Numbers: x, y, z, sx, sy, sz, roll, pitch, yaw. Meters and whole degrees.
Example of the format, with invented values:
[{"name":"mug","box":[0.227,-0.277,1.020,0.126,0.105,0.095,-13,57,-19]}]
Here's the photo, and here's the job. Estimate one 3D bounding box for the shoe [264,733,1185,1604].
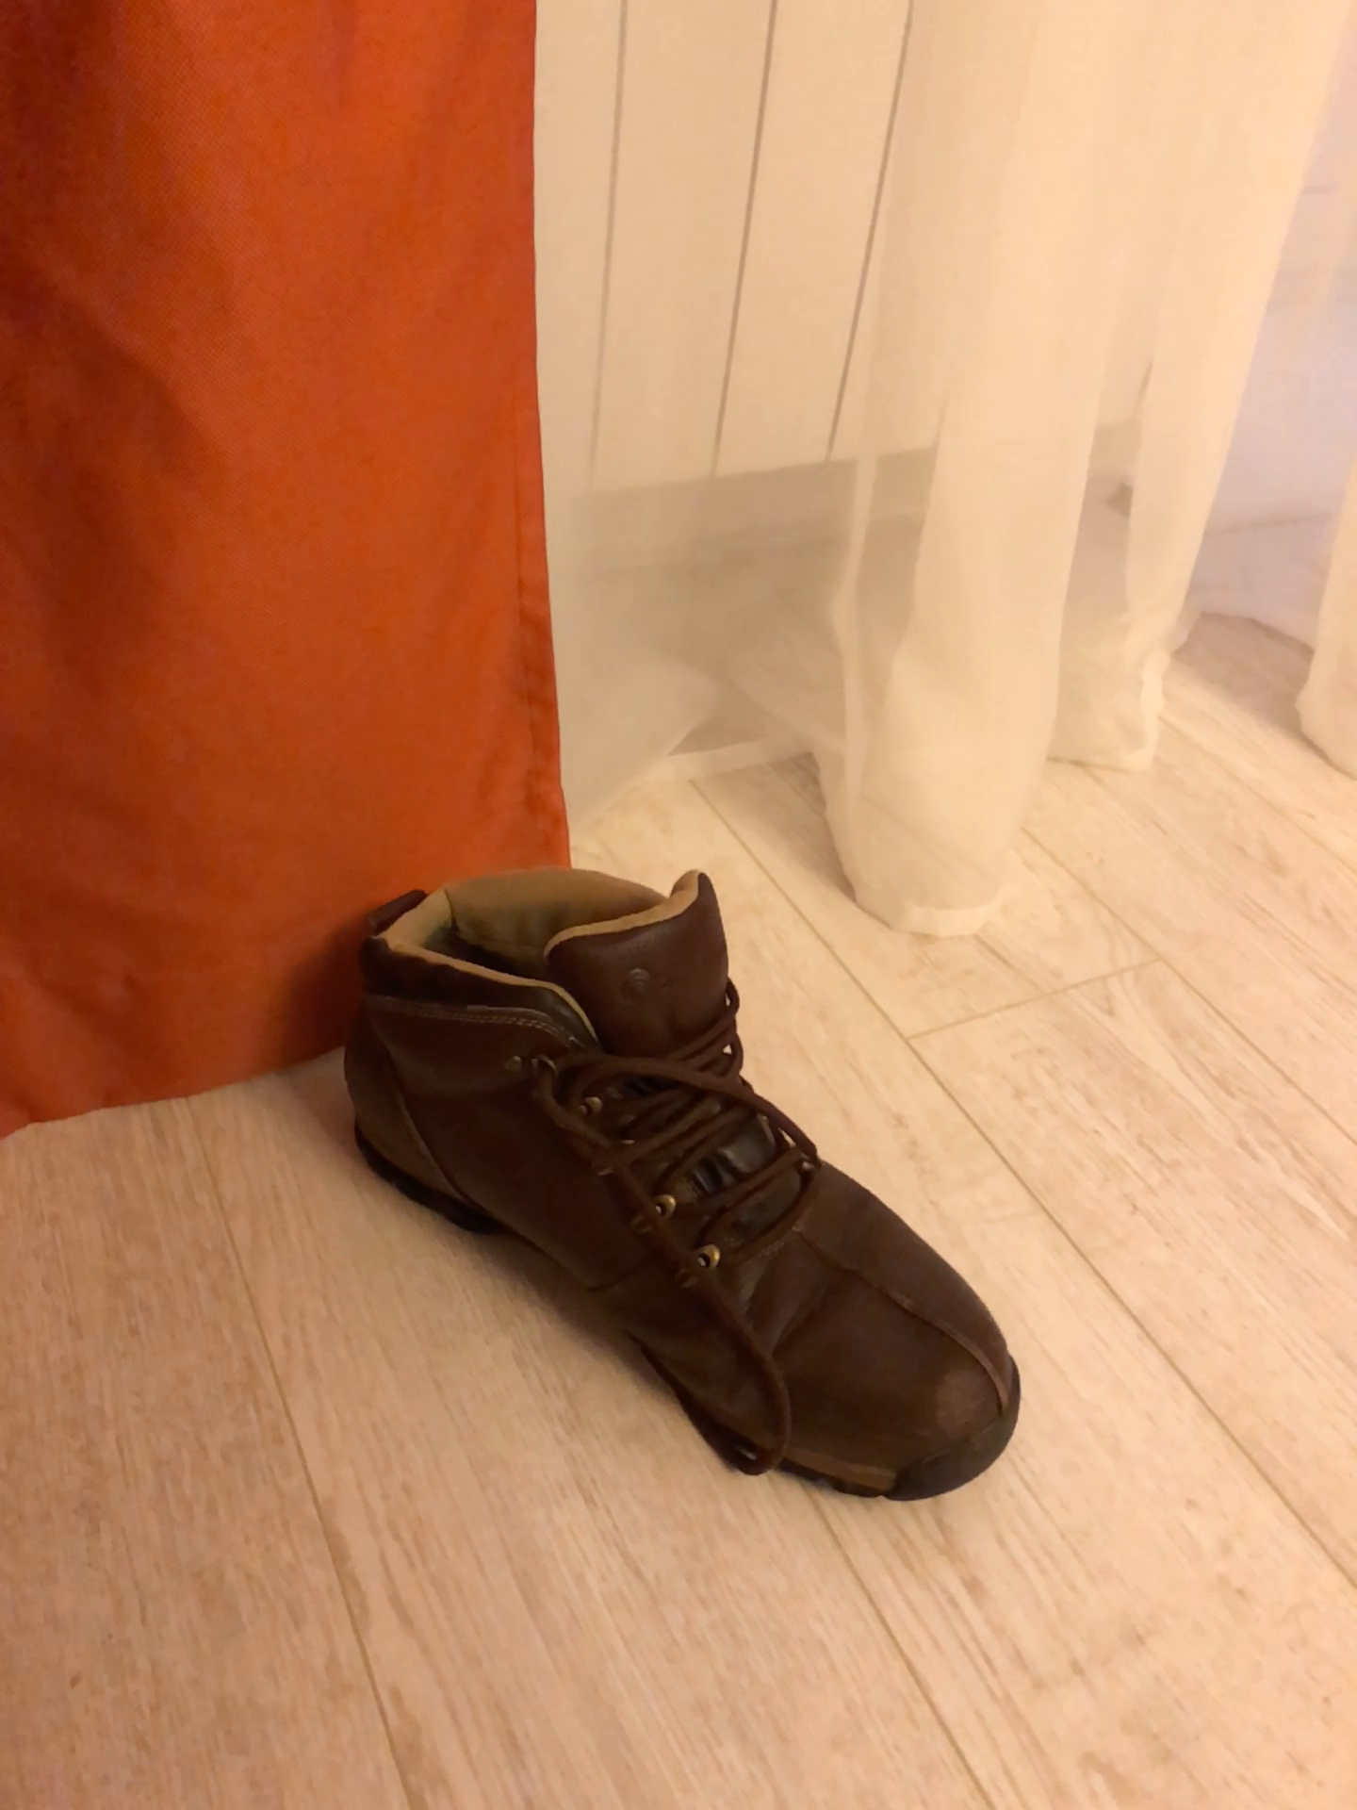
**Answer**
[{"name":"shoe","box":[0.001,0.081,0.547,0.301,0.159,0.111,27,43,26]}]
